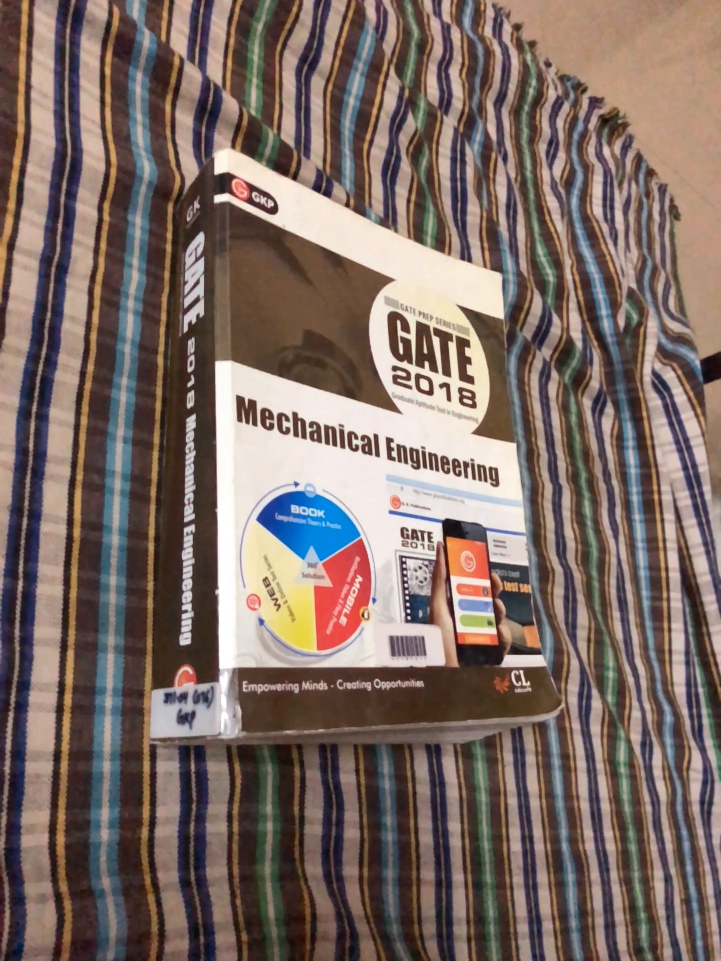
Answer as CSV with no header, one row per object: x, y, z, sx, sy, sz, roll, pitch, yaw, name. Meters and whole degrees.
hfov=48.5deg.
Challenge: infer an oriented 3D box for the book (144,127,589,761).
0.007,-0.004,0.410,0.211,0.075,0.264,13,65,-41,book
